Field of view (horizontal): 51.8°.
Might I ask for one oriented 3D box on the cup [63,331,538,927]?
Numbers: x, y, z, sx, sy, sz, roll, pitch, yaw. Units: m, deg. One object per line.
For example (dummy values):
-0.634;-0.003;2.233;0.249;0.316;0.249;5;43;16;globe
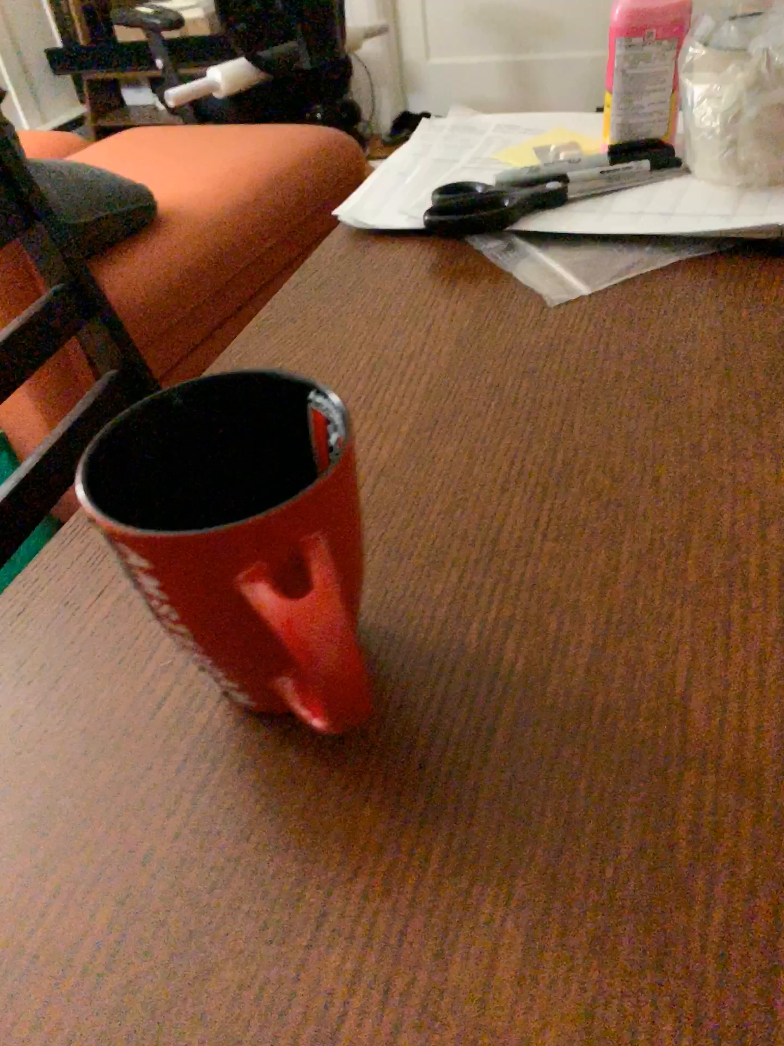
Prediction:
-0.030;0.024;0.253;0.090;0.099;0.131;-23;42;-14;cup
